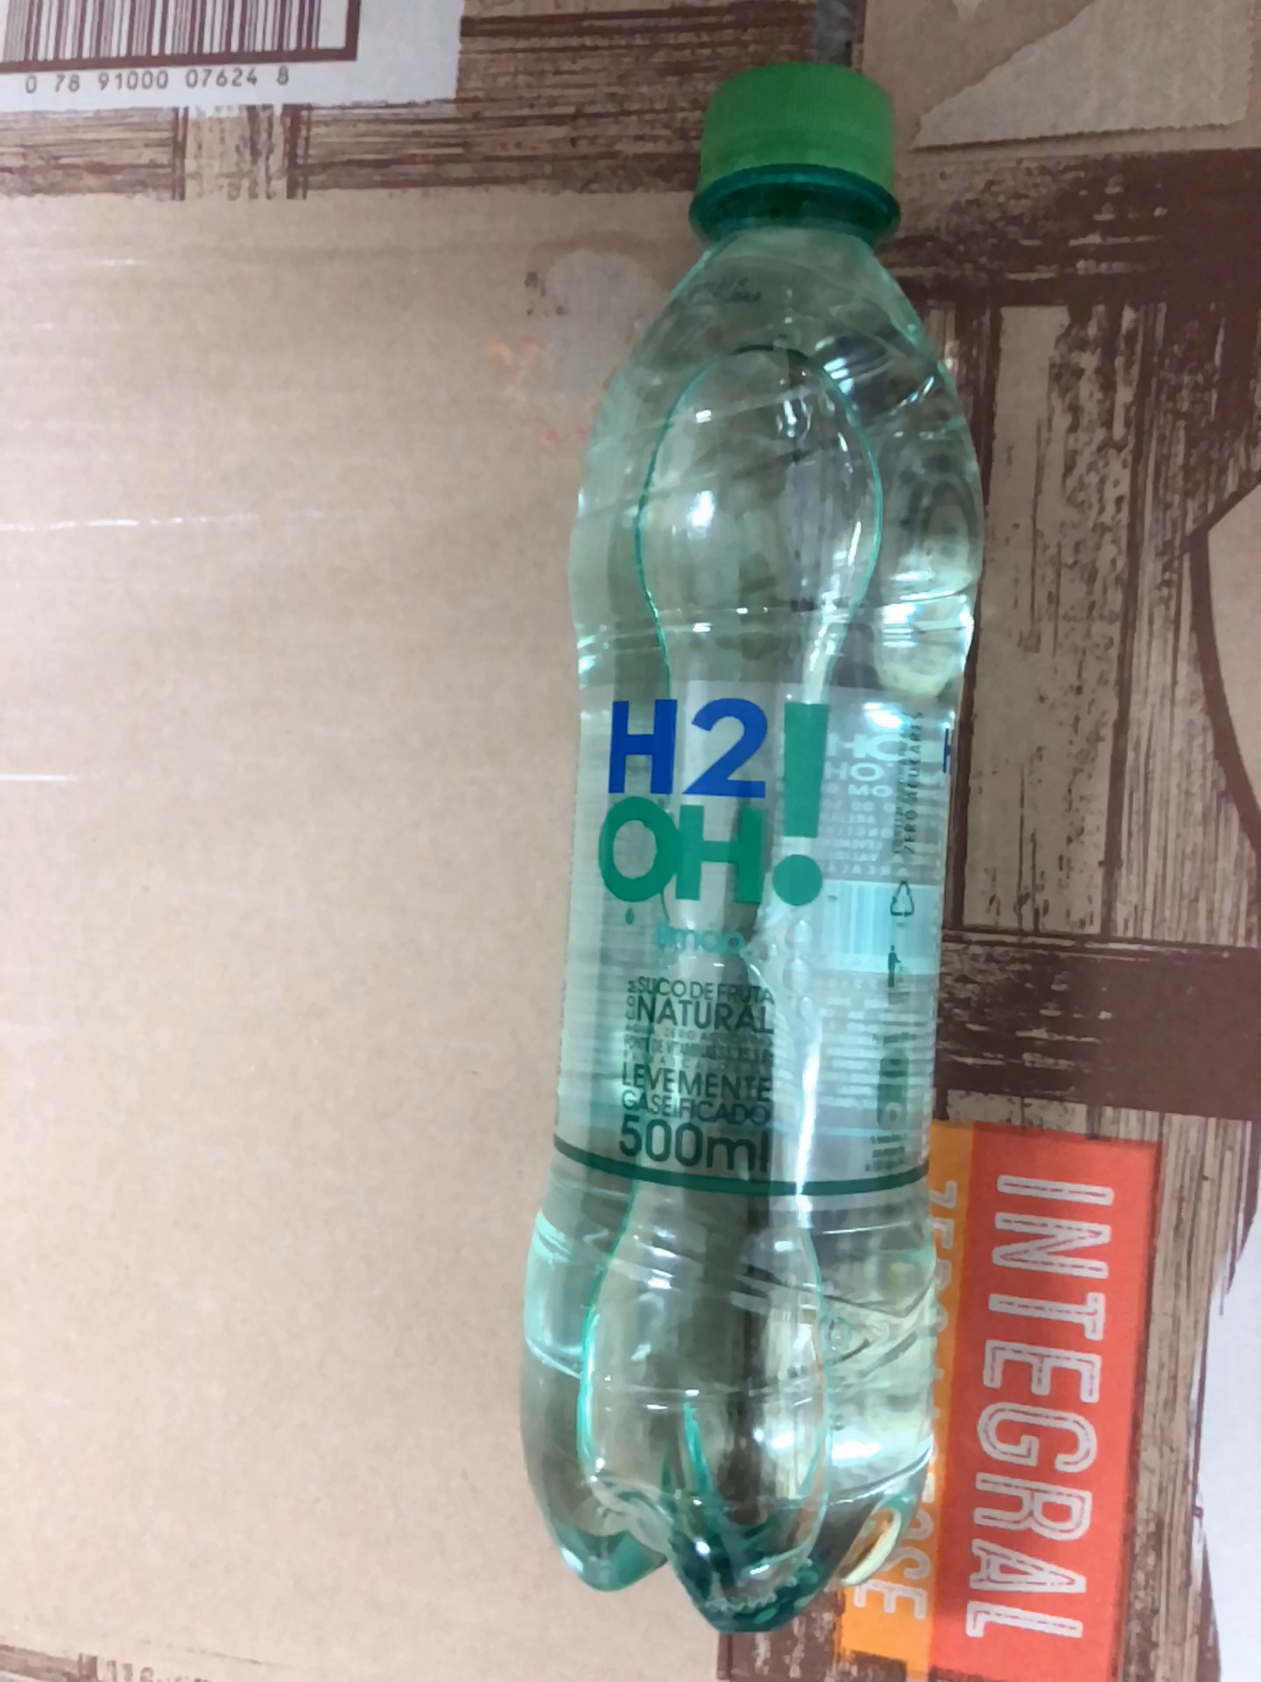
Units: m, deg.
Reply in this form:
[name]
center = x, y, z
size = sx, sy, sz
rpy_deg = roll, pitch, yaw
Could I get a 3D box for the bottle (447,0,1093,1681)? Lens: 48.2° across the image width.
[bottle]
center = 0.022, -0.008, 0.215
size = 0.070, 0.050, 0.250
rpy_deg = 4, 89, 11
